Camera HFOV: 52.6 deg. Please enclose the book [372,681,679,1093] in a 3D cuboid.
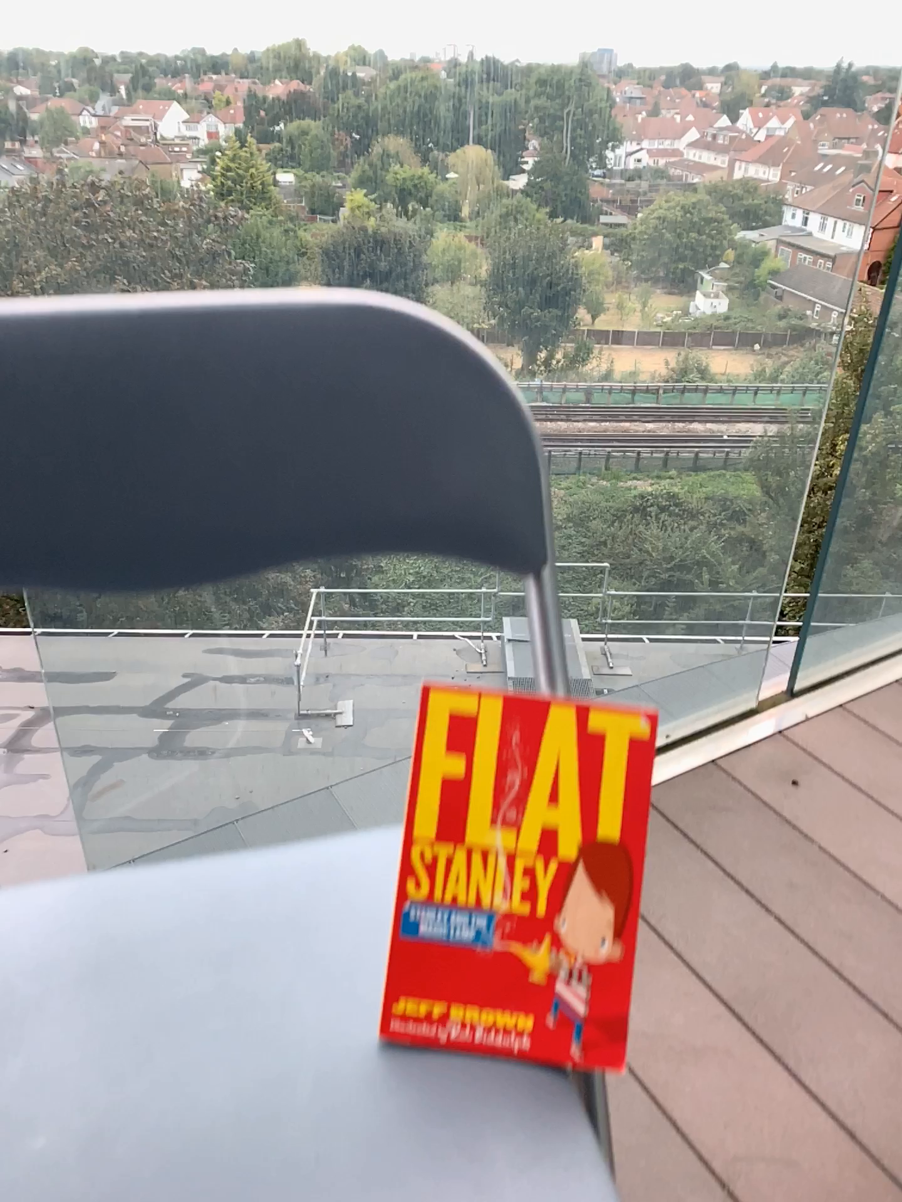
[{"bbox_3d":[0.040,0.146,0.485,0.140,0.190,0.020,6,-5,8],"label":"book"}]
